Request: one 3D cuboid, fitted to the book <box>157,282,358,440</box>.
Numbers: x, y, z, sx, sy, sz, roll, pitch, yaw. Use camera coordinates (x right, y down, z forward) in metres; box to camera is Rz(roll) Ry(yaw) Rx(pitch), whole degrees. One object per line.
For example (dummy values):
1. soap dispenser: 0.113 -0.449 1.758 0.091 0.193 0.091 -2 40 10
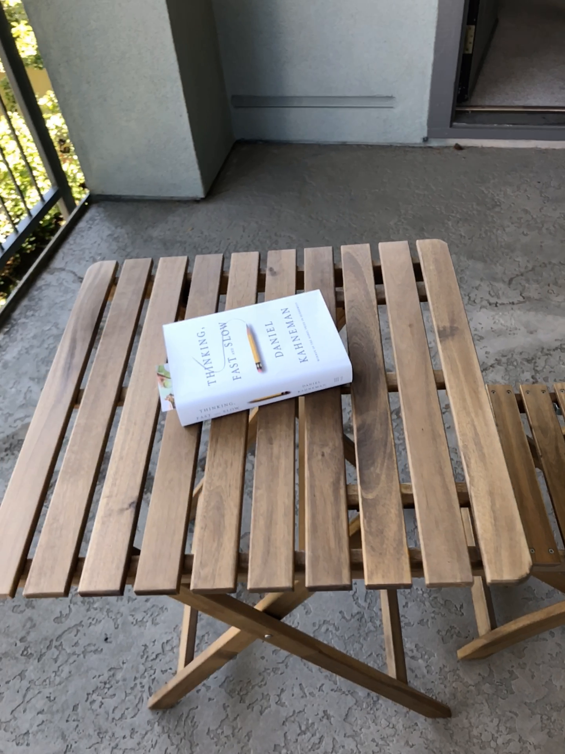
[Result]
1. book: -0.039 -0.029 0.875 0.240 0.060 0.181 -14 48 -6
